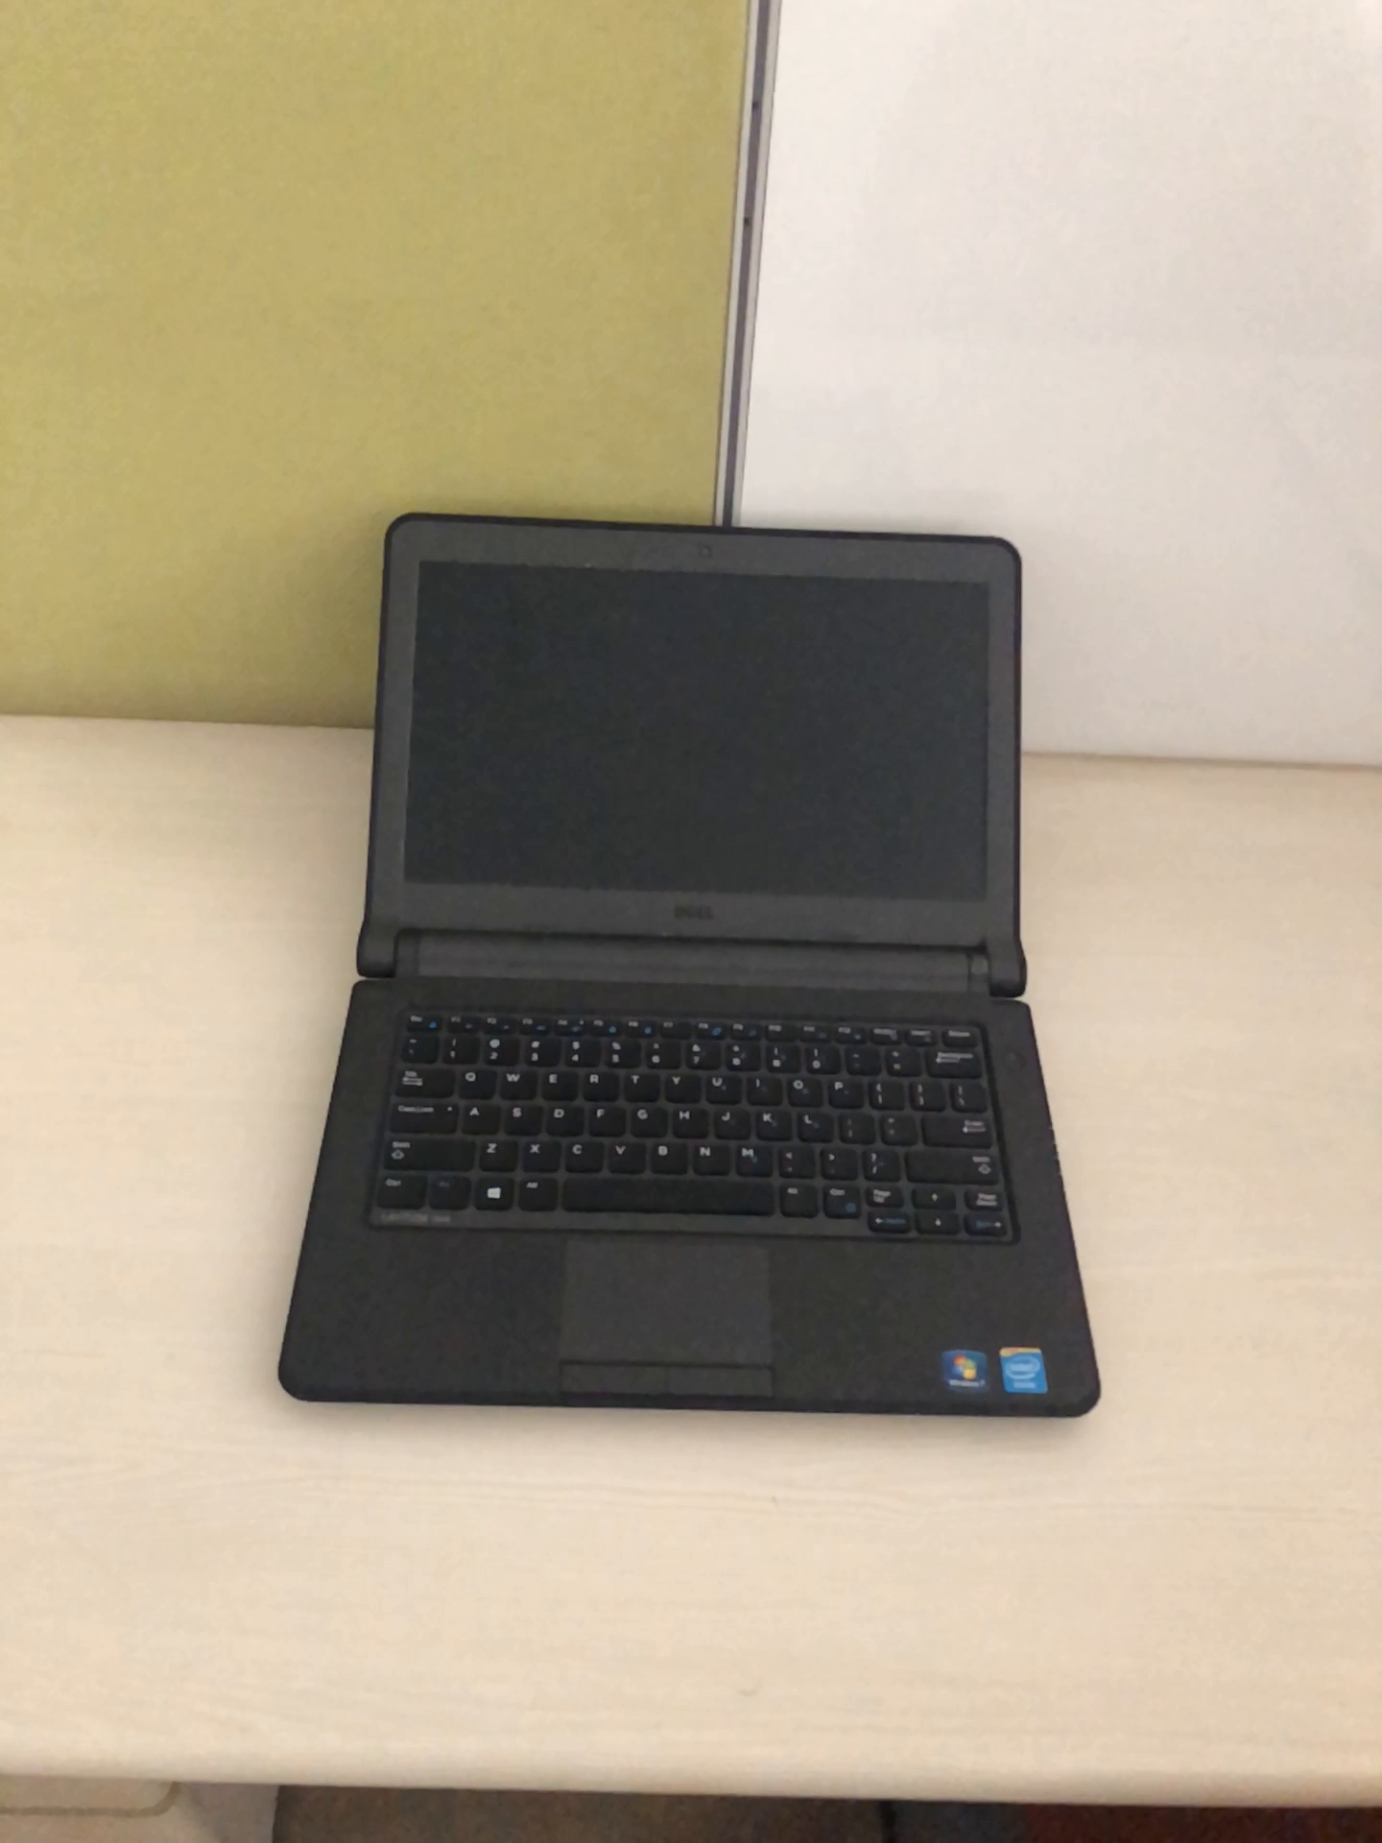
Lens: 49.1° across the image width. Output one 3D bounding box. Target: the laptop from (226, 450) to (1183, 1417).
[{"bbox_3d":[0.004,-0.020,0.672,0.316,0.122,0.417,2,51,-2],"label":"laptop"}]
